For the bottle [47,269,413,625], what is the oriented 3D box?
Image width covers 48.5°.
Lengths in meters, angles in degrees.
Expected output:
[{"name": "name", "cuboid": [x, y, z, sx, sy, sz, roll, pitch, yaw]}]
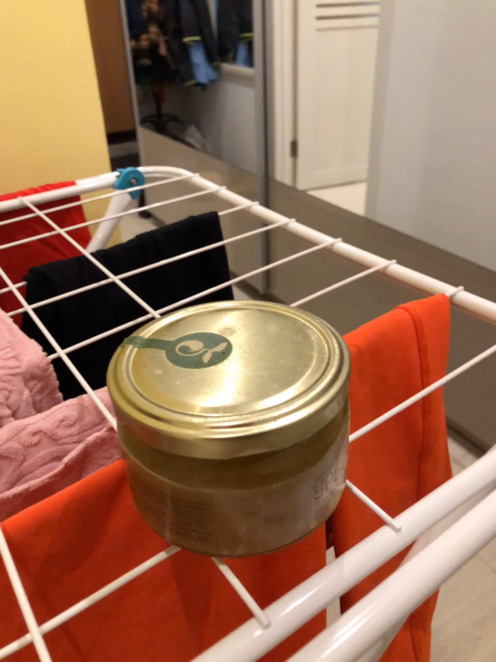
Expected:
[{"name": "bottle", "cuboid": [0.000, 0.030, 0.200, 0.090, 0.060, 0.091, -2, 31, 1]}]
